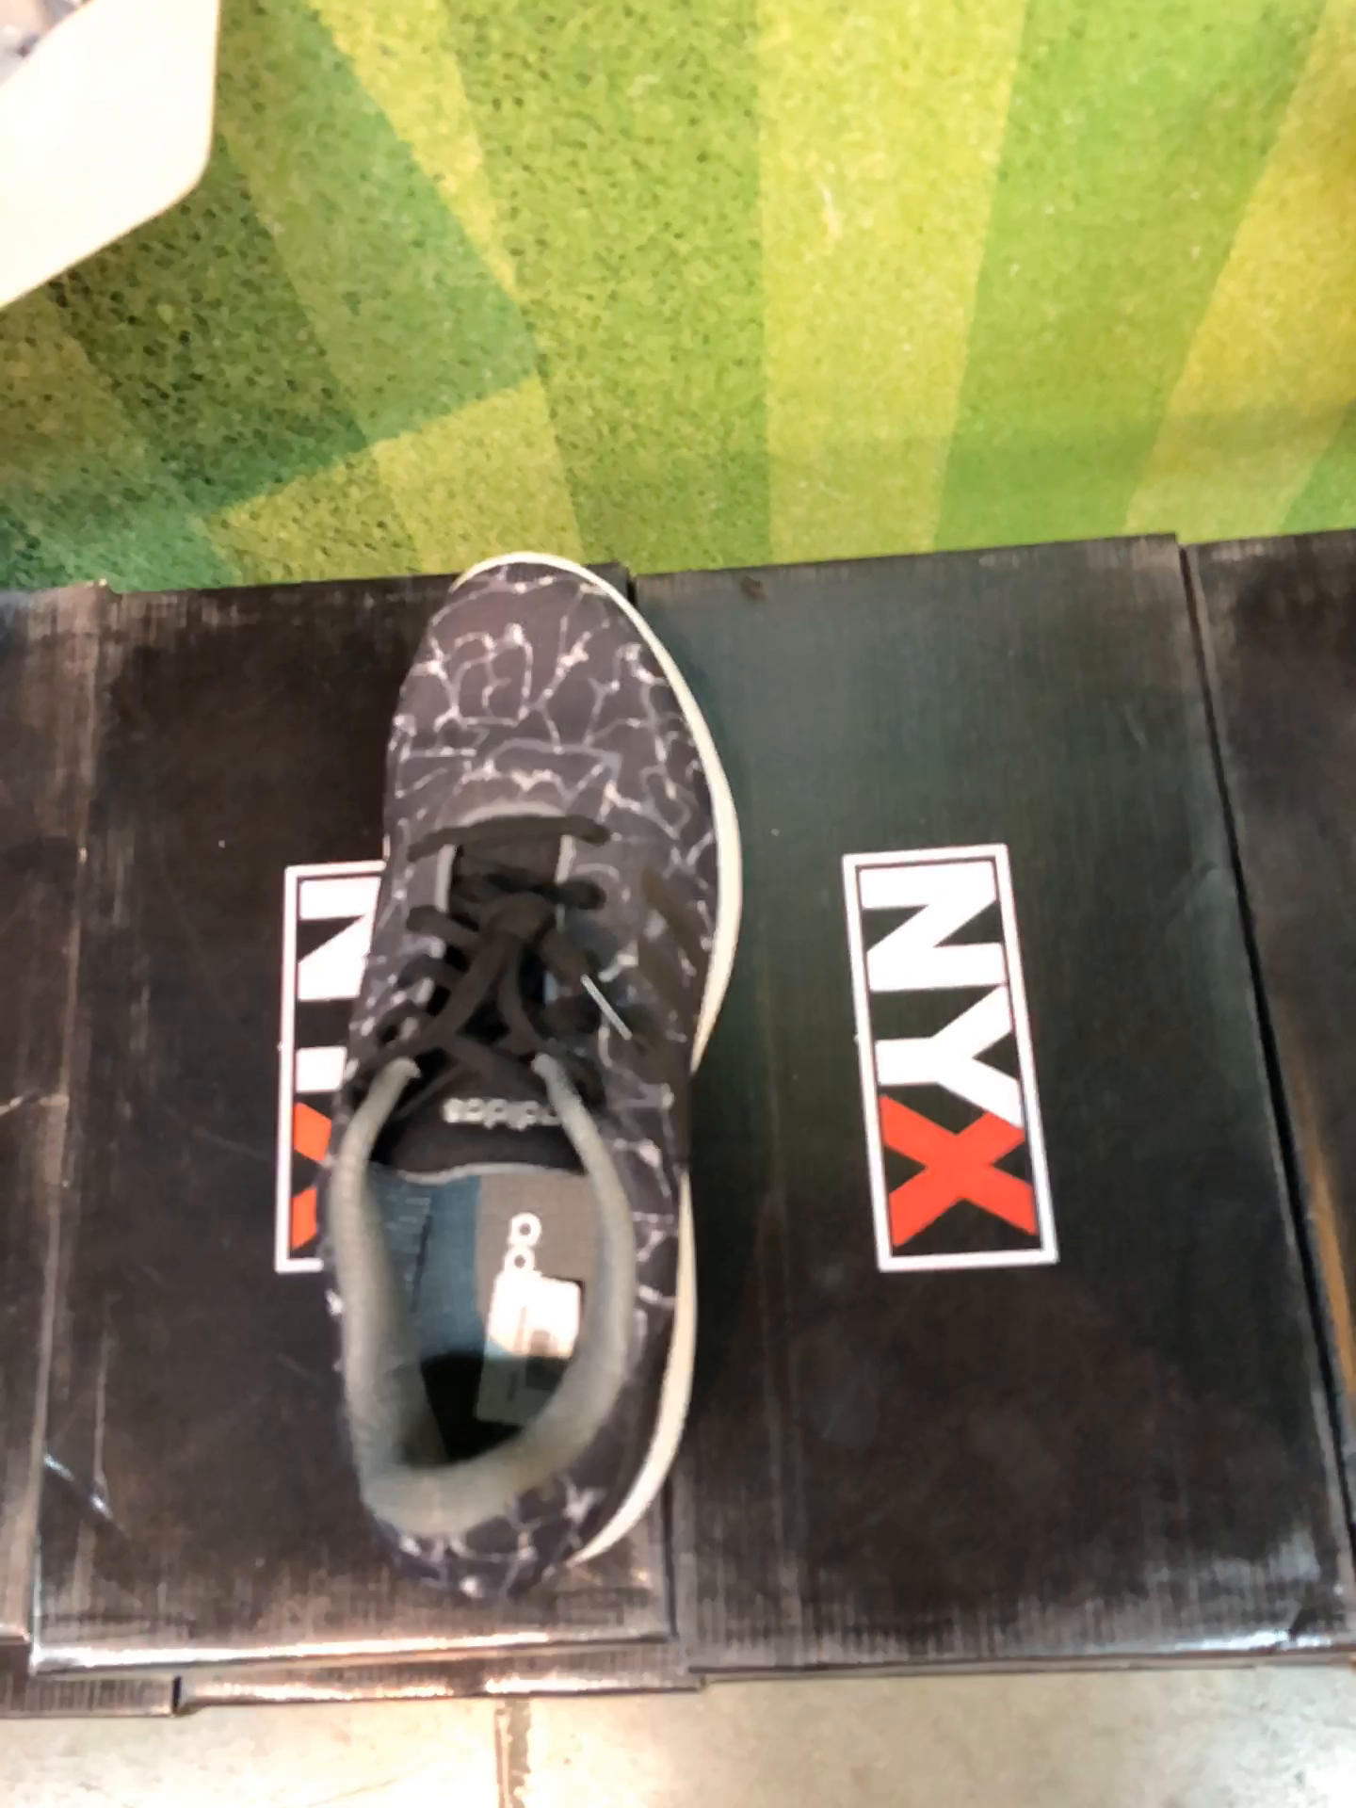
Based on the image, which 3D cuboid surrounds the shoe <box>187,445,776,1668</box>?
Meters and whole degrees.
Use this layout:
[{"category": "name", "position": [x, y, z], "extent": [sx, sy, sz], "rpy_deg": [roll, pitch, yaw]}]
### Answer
[{"category": "shoe", "position": [-0.031, 0.034, 0.373], "extent": [0.108, 0.122, 0.261], "rpy_deg": [0, 72, 5]}]
